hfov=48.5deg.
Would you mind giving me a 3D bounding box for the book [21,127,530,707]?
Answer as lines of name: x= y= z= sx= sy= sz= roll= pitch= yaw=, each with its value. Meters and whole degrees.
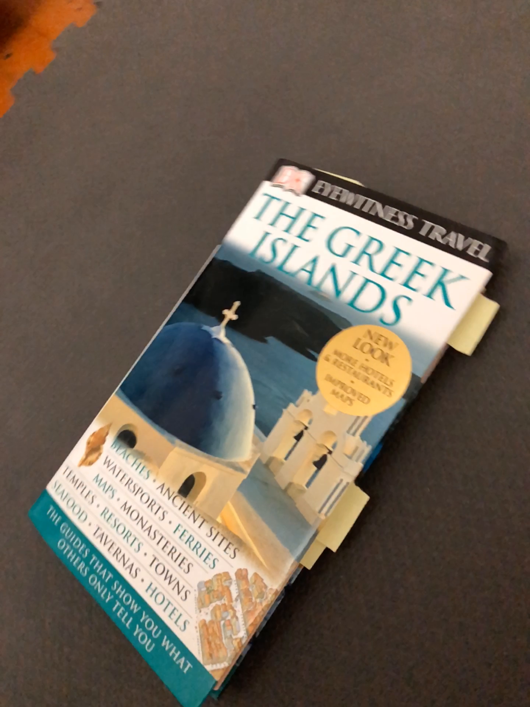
book: x=0.009 y=0.018 z=0.273 sx=0.161 sy=0.030 sz=0.240 roll=33 pitch=85 yaw=34
